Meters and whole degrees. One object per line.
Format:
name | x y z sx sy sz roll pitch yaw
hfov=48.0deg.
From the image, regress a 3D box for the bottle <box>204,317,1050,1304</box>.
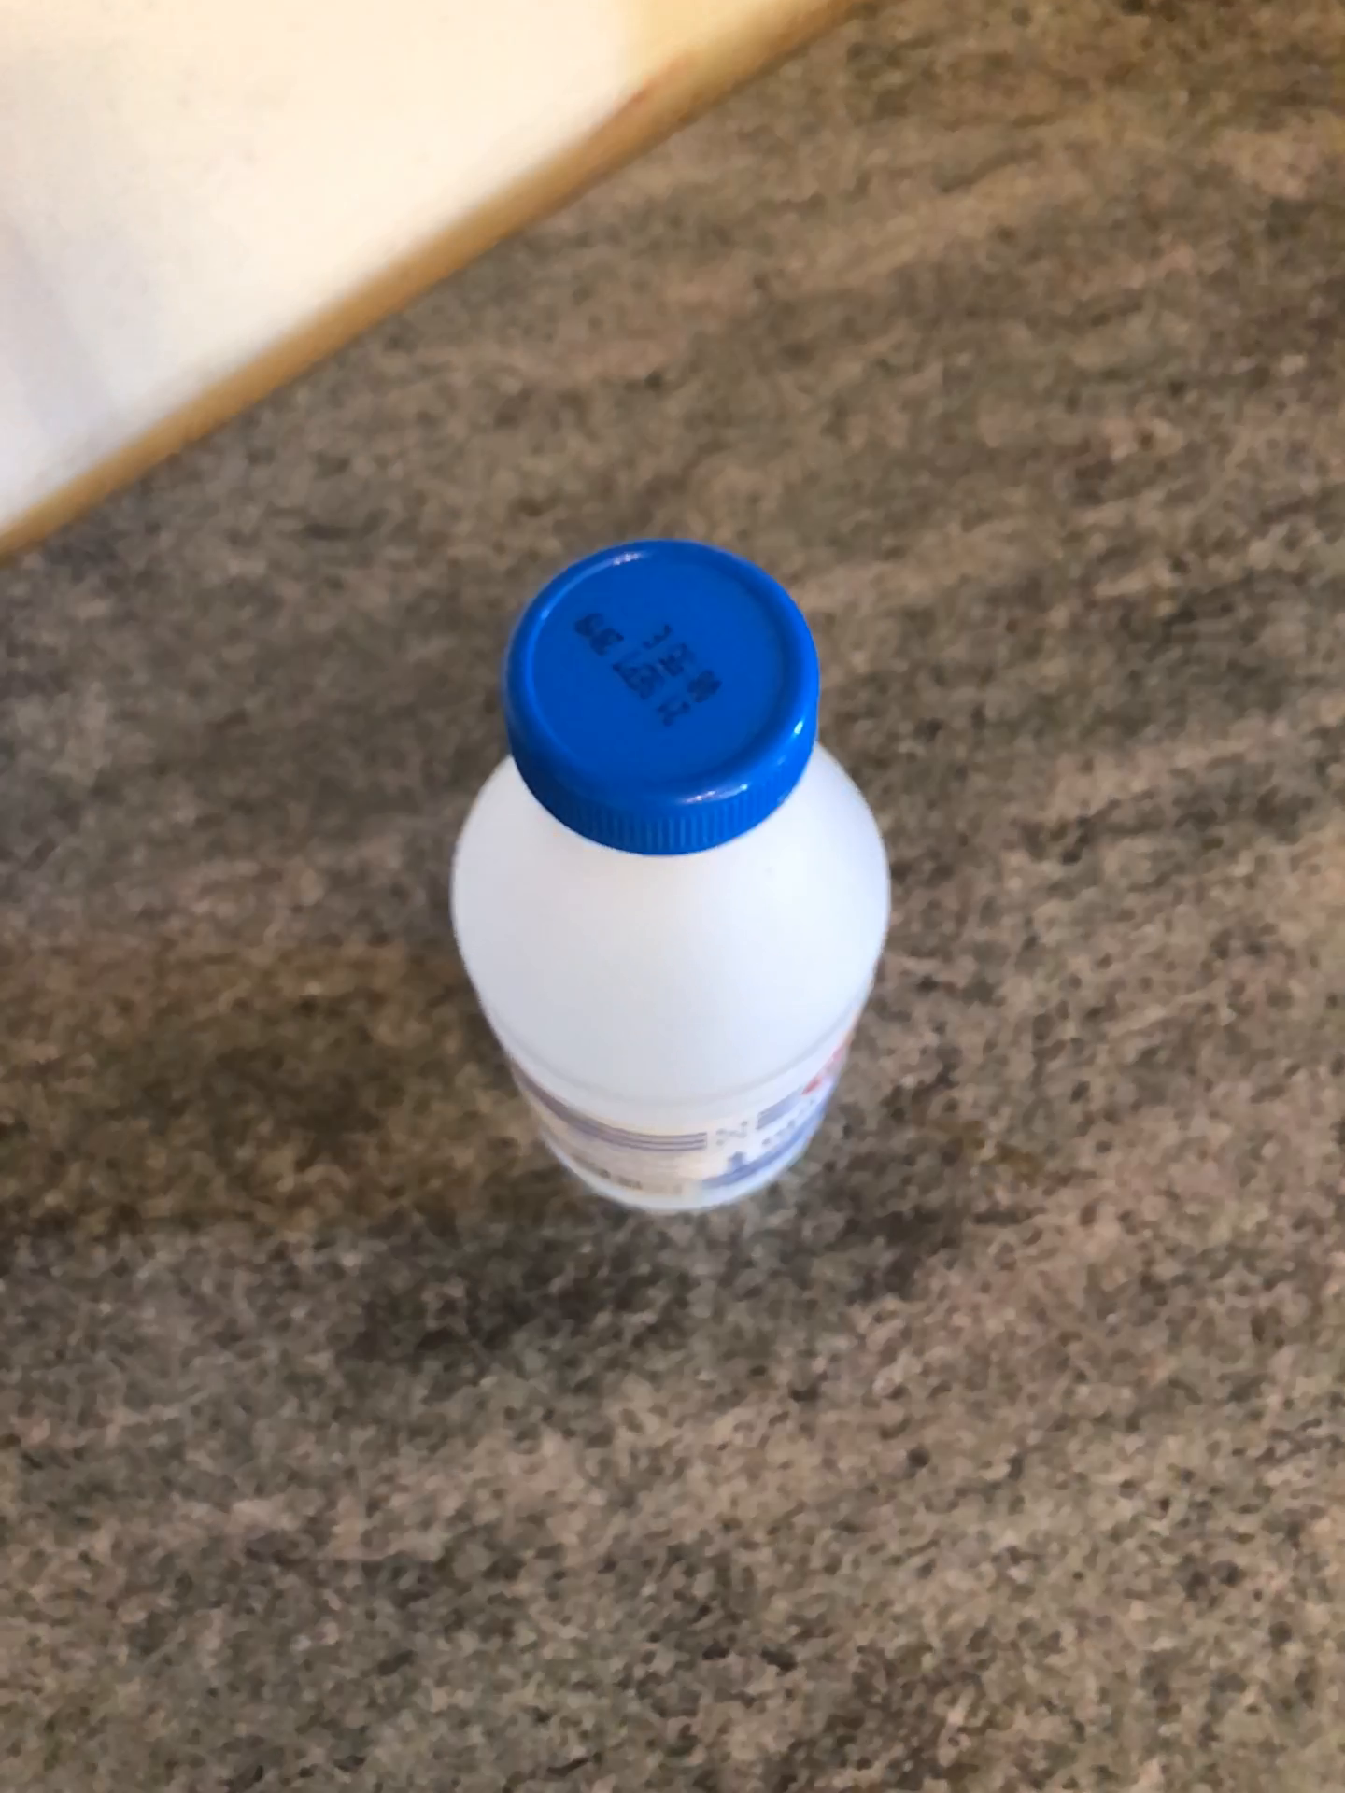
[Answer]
bottle | -0.001 0.009 0.328 0.090 0.239 0.090 -1 67 2
